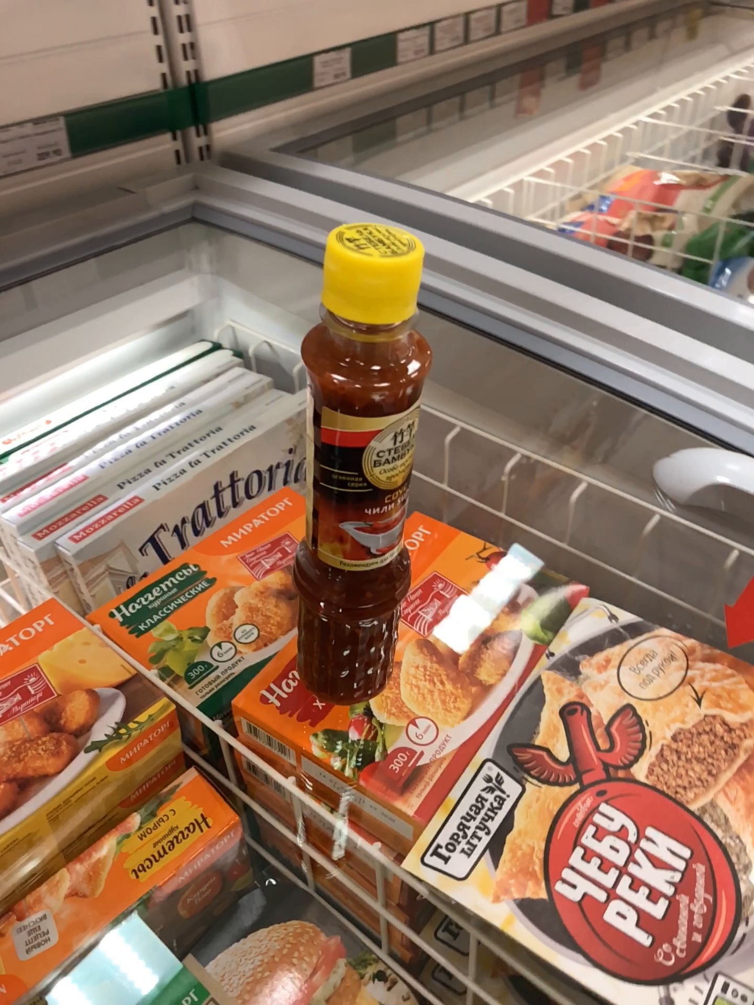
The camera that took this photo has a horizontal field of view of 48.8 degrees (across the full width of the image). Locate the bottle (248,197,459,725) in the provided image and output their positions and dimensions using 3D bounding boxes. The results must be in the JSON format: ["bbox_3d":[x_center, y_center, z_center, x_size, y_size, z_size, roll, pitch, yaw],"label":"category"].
[{"bbox_3d":[-0.011,-0.002,0.328,0.047,0.212,0.048,2,41,-2],"label":"bottle"}]
